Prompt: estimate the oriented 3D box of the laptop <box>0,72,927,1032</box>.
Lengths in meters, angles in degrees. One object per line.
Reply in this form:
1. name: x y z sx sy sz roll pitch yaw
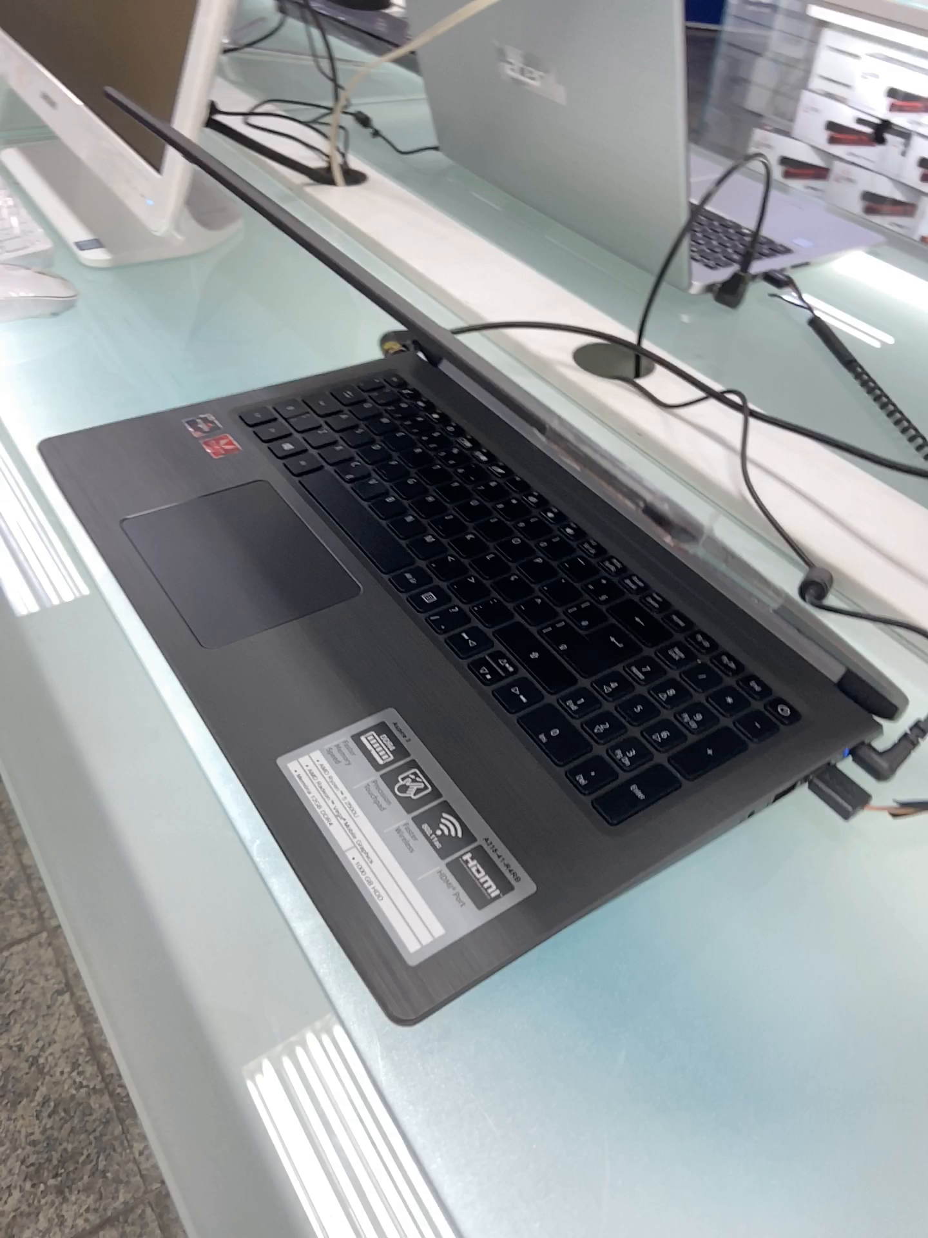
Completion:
1. laptop: -0.016 -0.078 0.375 0.221 0.155 0.344 -22 48 -27
